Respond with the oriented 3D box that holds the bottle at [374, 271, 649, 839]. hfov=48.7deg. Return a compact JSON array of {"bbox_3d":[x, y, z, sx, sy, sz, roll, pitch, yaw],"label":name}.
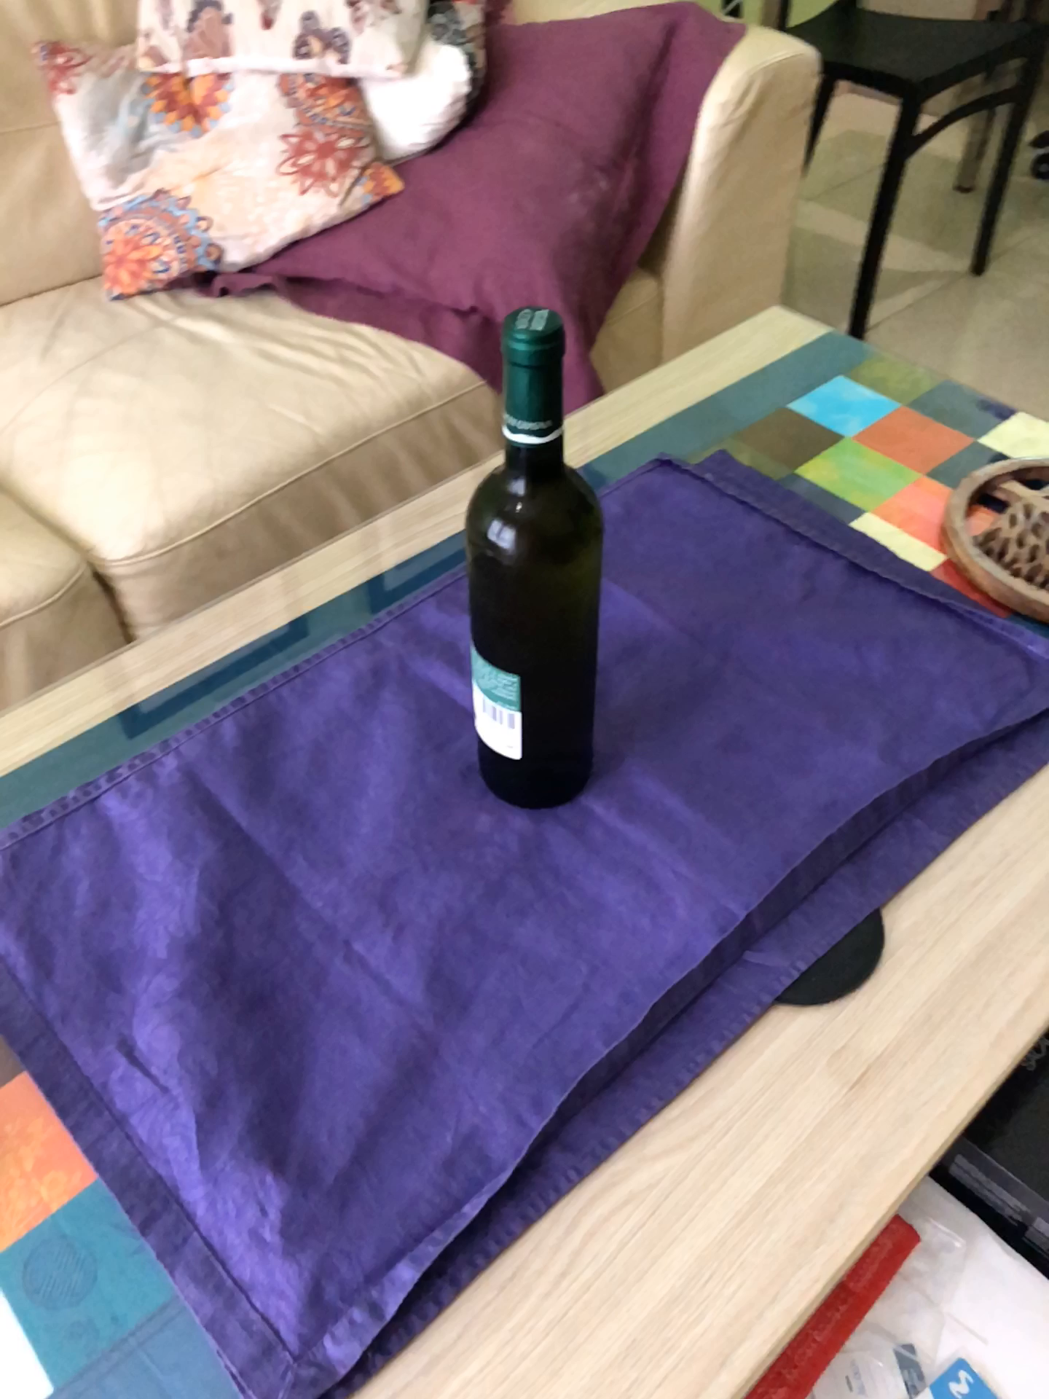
[{"bbox_3d":[-0.007,-0.059,0.583,0.090,0.269,0.090,0,45,0],"label":"bottle"}]
